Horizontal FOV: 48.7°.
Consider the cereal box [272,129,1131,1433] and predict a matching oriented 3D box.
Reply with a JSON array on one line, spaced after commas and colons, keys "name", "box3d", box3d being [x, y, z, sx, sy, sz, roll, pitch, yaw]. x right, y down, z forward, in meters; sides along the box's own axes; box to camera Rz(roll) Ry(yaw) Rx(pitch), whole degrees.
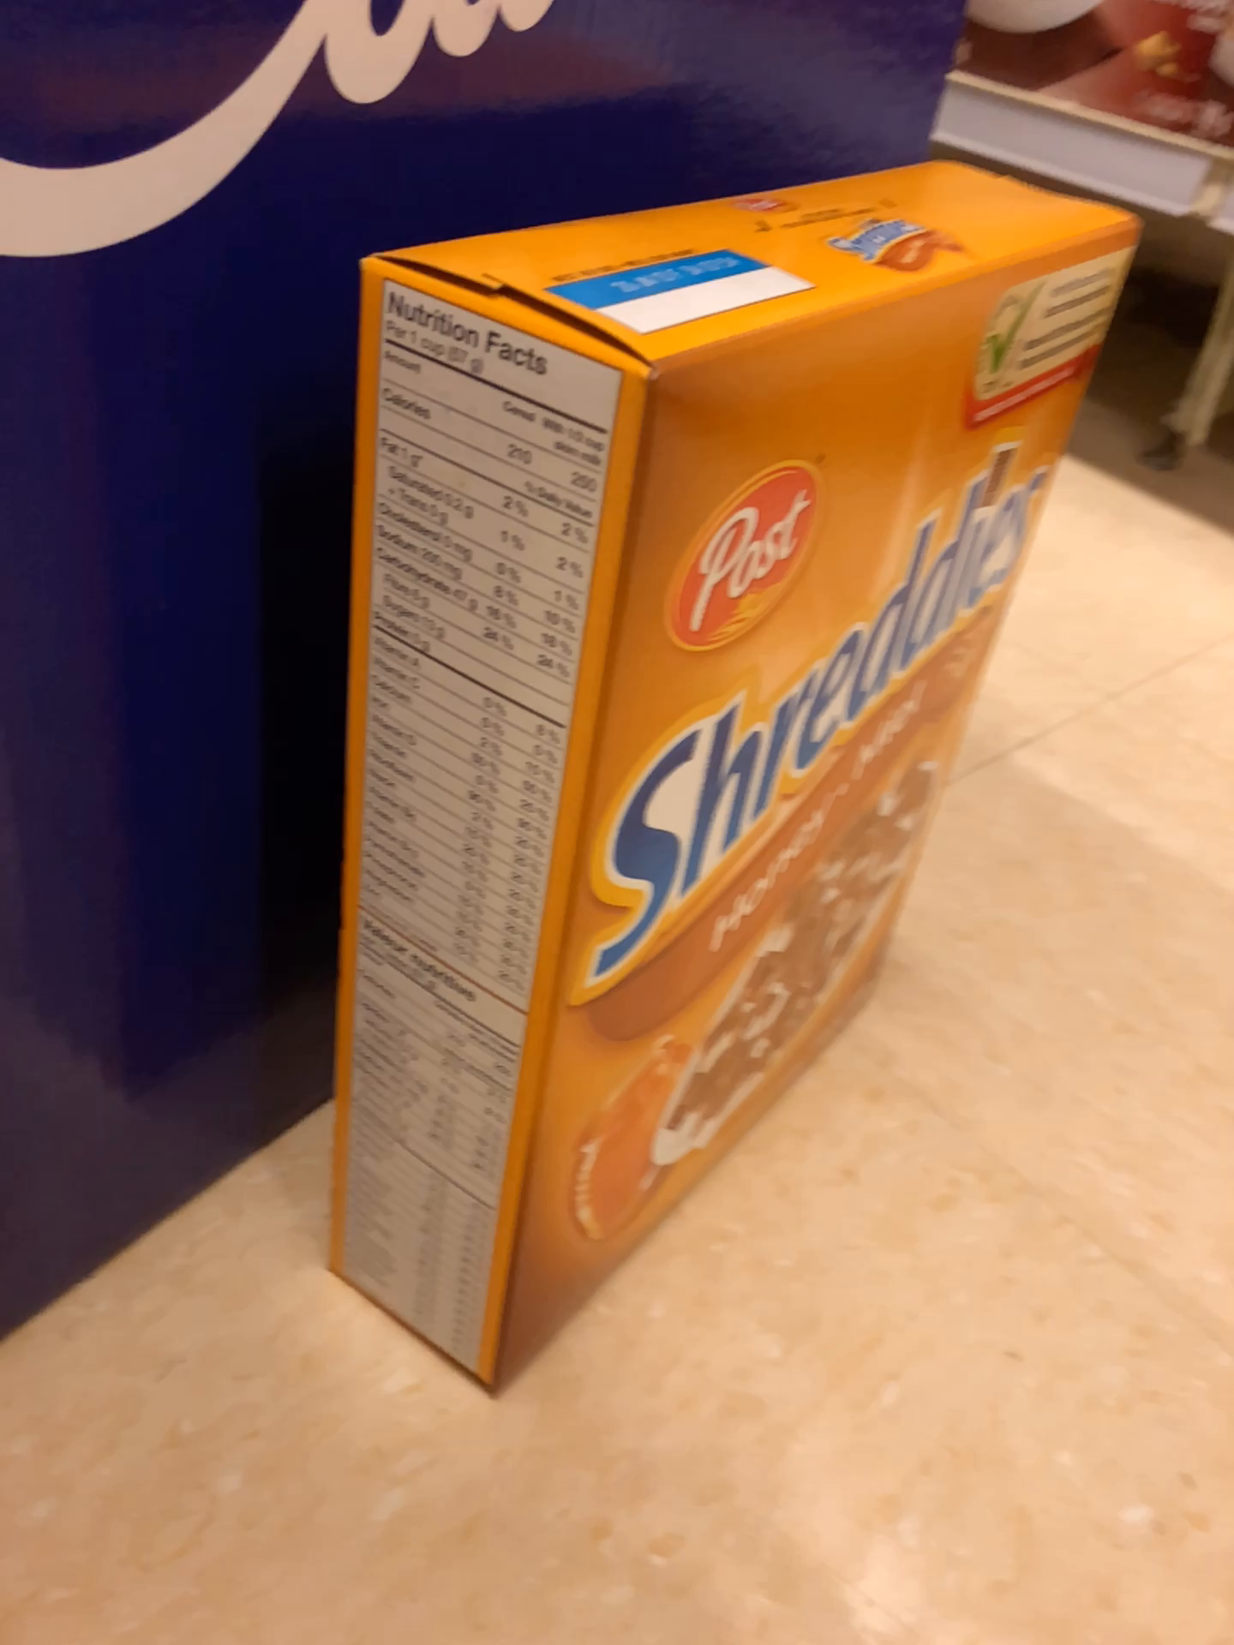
[{"name": "cereal box", "box3d": [0.015, -0.013, 0.355, 0.070, 0.278, 0.211, 29, 40, 24]}]
